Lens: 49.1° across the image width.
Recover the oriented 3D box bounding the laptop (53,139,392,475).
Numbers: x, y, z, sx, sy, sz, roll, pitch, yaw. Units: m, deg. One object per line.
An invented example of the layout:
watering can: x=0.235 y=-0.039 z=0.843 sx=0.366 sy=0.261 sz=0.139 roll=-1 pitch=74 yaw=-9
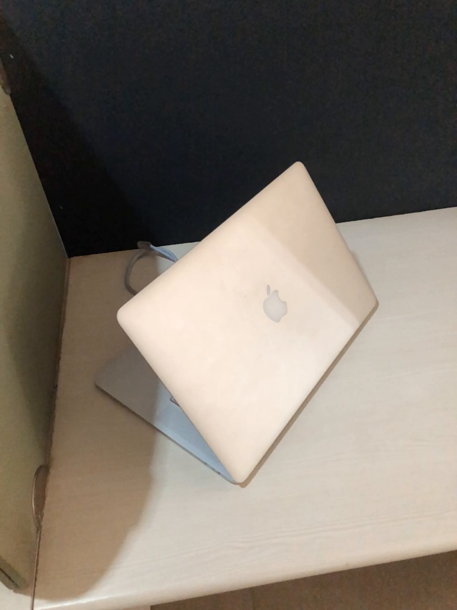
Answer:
laptop: x=0.013 y=-0.023 z=0.650 sx=0.235 sy=0.197 sz=0.344 roll=26 pitch=52 yaw=26
